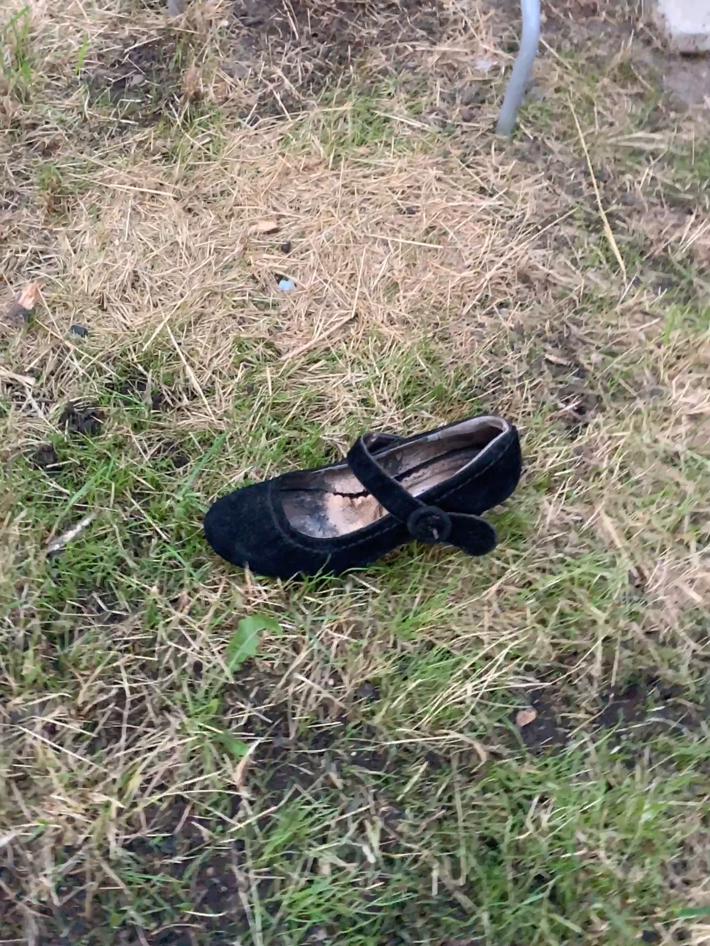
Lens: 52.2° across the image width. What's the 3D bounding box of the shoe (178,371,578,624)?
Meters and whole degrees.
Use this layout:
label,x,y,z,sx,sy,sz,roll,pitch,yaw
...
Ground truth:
label,x,y,z,sx,sy,sz,roll,pitch,yaw
shoe,0.009,0.017,0.531,0.250,0.109,0.111,-8,60,-11
